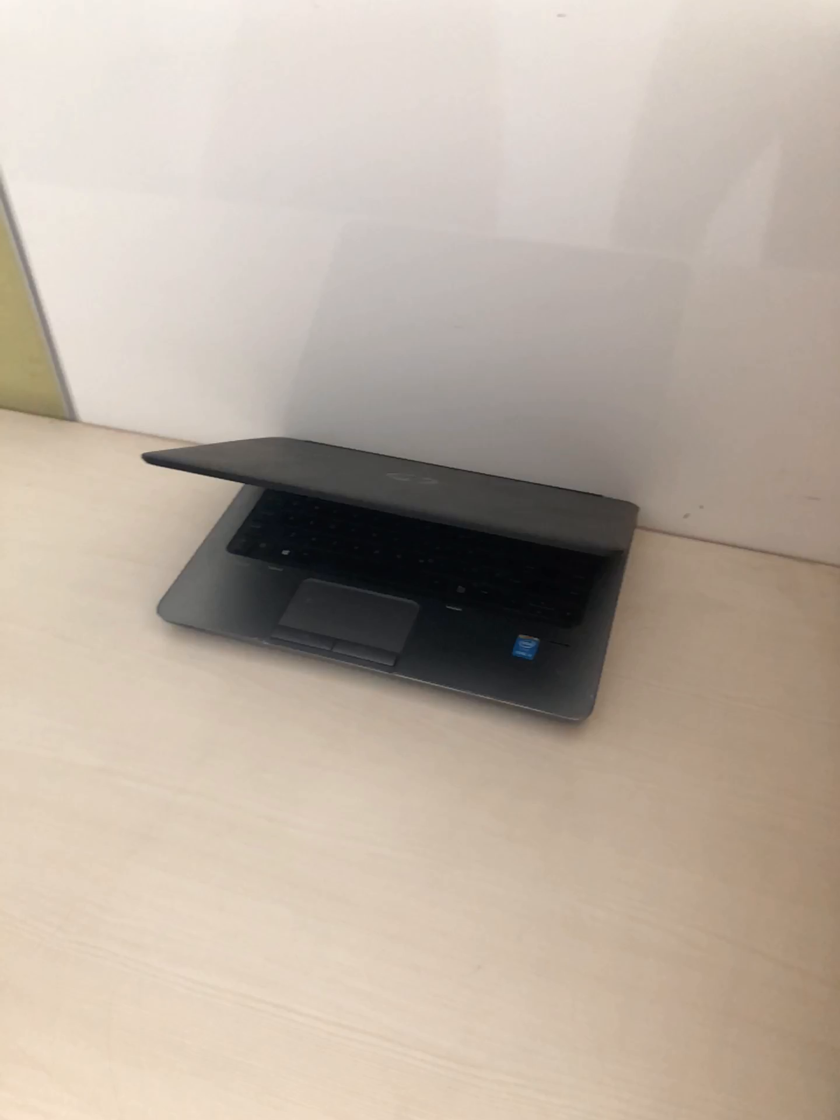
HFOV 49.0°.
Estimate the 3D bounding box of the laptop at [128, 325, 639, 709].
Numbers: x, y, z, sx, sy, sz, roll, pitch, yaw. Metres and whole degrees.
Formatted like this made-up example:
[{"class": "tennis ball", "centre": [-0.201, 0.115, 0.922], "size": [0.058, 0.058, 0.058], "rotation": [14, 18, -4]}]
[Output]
[{"class": "laptop", "centre": [-0.015, -0.047, 0.715], "size": [0.320, 0.118, 0.221], "rotation": [12, 46, 12]}]
